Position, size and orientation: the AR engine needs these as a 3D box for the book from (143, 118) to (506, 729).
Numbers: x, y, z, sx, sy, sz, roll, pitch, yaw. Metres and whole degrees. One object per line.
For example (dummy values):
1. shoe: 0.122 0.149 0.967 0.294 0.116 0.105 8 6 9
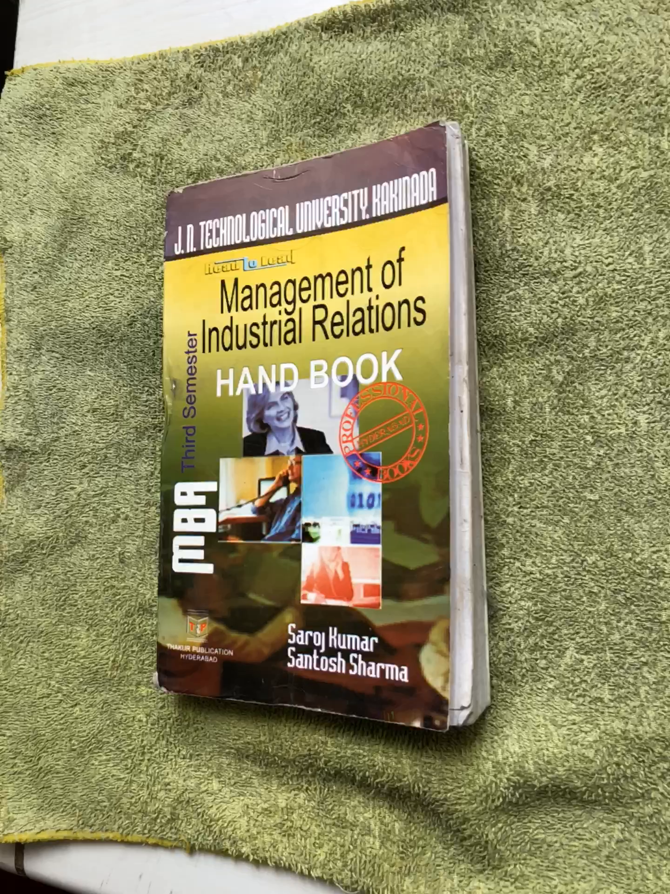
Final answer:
1. book: -0.005 -0.008 0.316 0.140 0.050 0.220 -2 84 23
